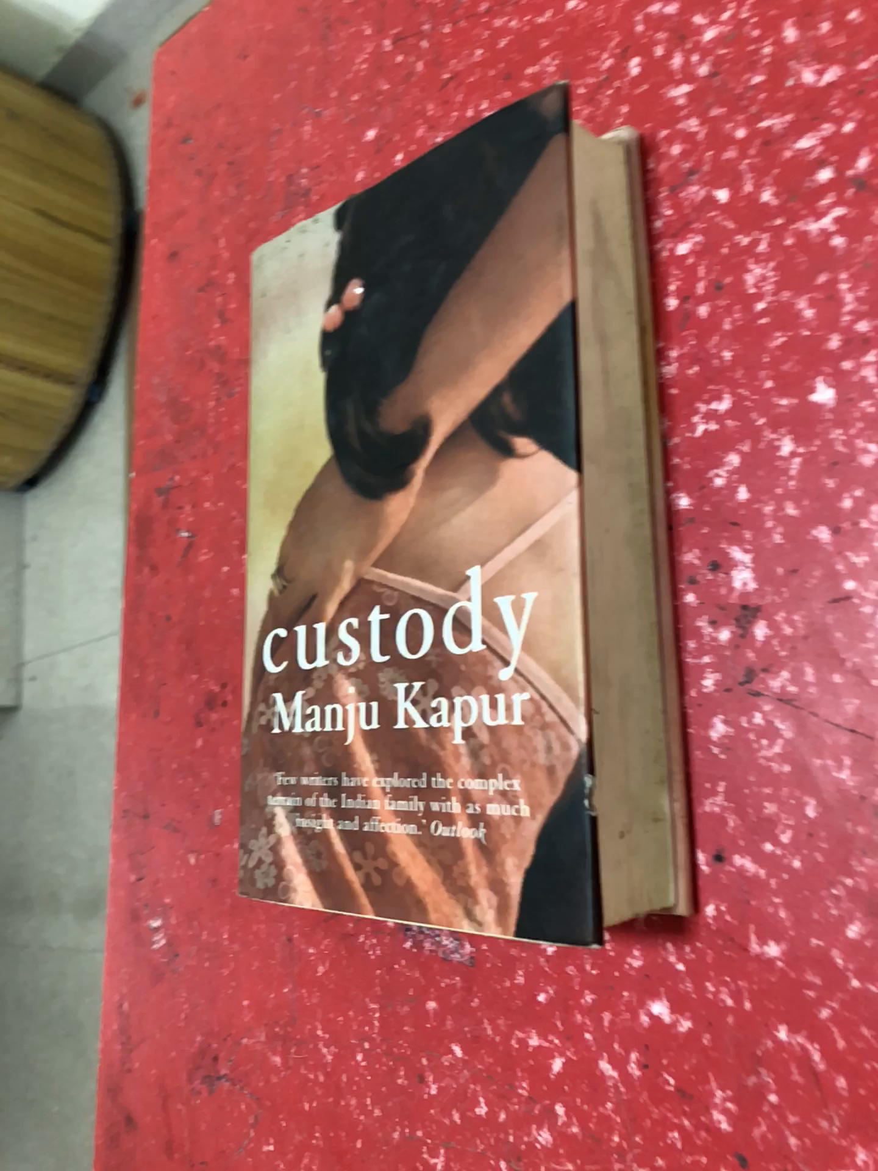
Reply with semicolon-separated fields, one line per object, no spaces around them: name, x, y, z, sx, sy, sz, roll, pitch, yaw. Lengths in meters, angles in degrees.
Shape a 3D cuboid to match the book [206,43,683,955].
book;-0.008;-0.017;0.289;0.141;0.040;0.220;-11;75;42
